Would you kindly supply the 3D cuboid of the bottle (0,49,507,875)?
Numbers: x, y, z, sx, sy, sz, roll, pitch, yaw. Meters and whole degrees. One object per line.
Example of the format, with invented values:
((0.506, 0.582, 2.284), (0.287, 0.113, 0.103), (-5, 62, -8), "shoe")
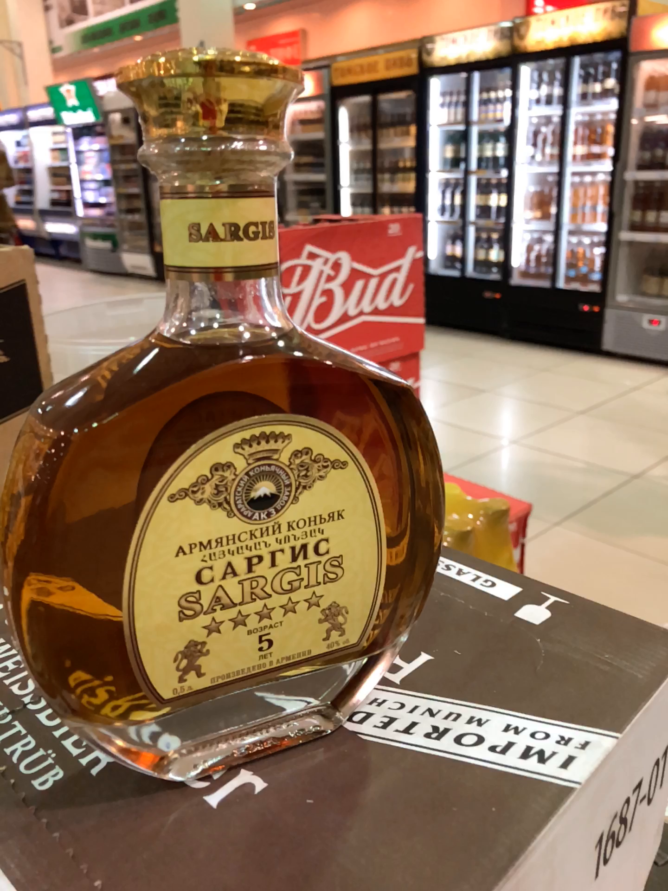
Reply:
((-0.029, 0.000, 0.234), (0.140, 0.209, 0.070), (-11, 22, -26), "bottle")
